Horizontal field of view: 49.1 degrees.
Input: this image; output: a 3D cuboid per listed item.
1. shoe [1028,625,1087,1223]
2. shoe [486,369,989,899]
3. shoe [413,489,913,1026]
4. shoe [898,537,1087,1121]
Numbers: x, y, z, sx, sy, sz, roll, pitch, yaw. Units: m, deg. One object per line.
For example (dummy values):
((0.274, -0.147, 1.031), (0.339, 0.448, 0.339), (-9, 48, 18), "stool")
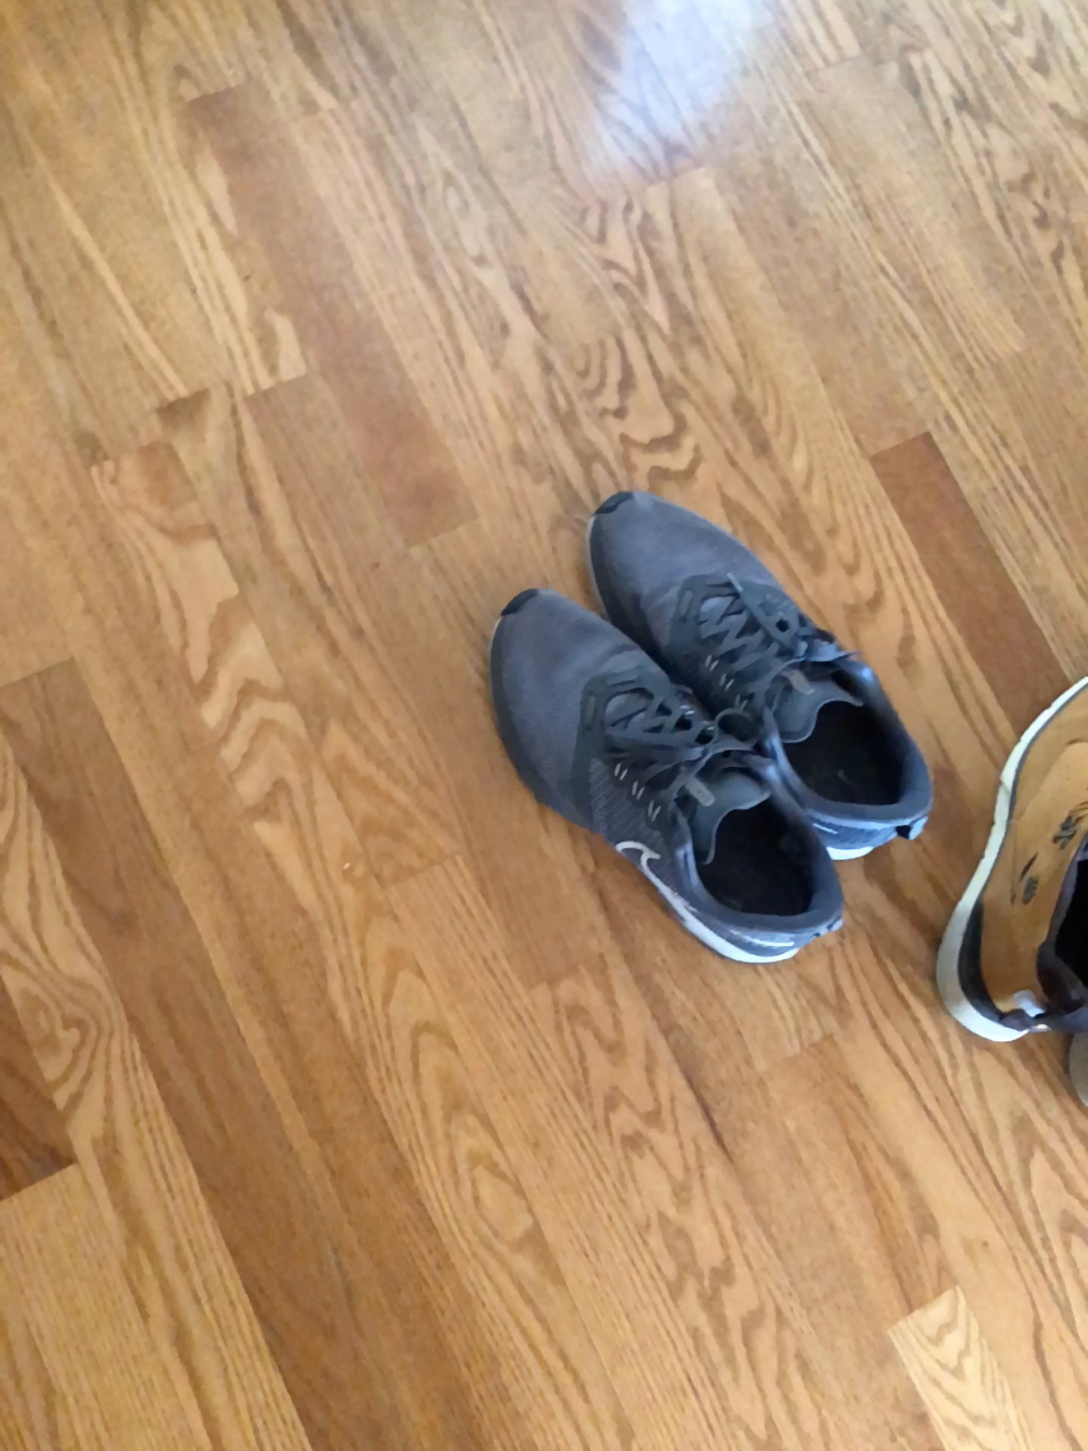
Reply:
((0.463, 0.119, 0.760), (0.130, 0.140, 0.320), (30, 76, -1), "shoe")
((0.123, -0.058, 0.813), (0.140, 0.100, 0.330), (-38, 86, -13), "shoe")
((0.070, 0.023, 0.788), (0.140, 0.100, 0.320), (-38, 86, -13), "shoe")
((0.378, 0.065, 0.764), (0.130, 0.140, 0.320), (30, 76, -1), "shoe")
